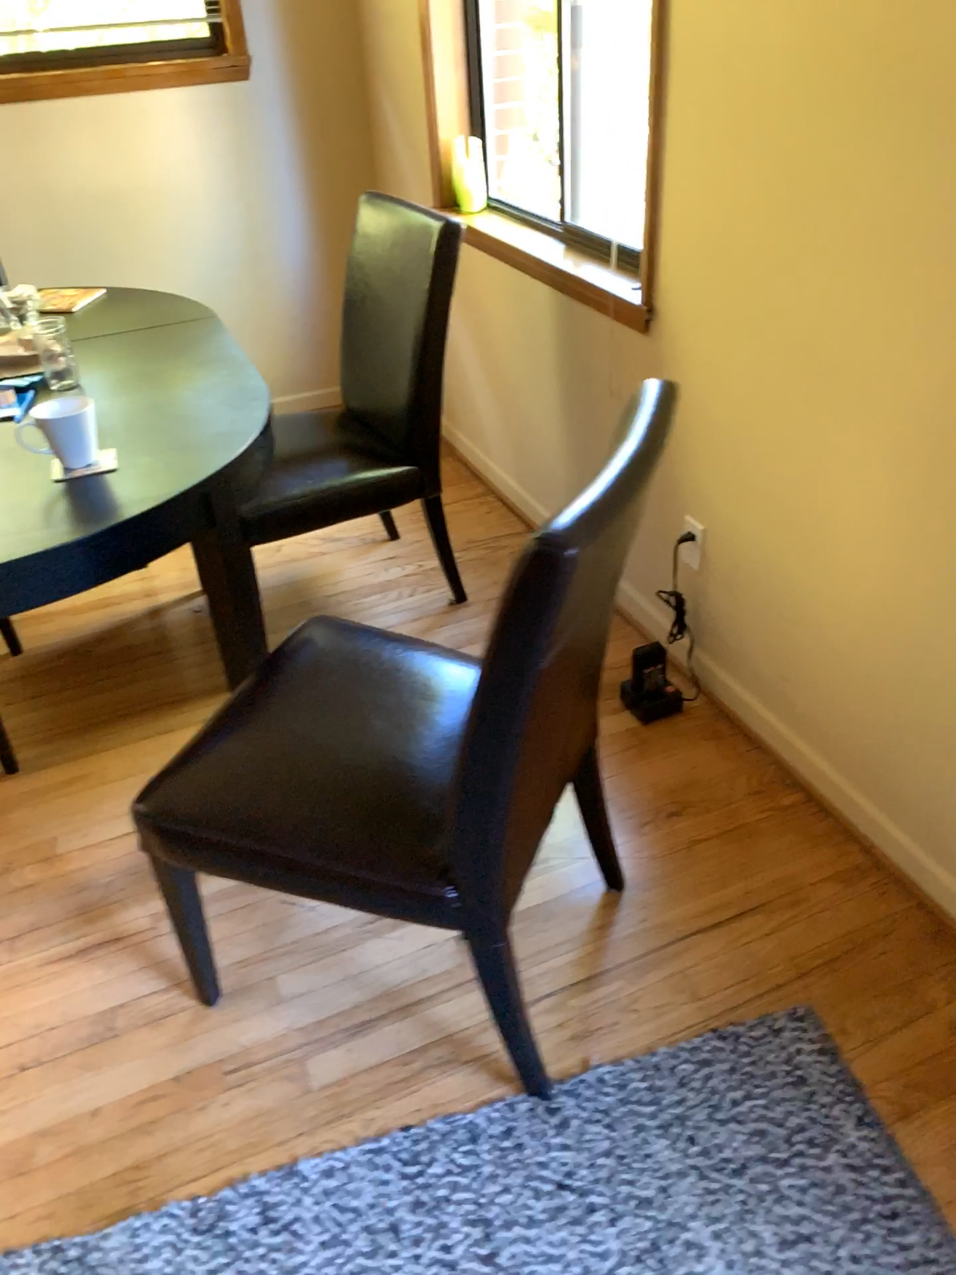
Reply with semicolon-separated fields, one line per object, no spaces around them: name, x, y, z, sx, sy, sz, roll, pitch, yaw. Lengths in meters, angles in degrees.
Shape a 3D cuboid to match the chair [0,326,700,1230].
chair;-0.088;0.191;1.446;0.651;1.083;0.623;9;36;19
